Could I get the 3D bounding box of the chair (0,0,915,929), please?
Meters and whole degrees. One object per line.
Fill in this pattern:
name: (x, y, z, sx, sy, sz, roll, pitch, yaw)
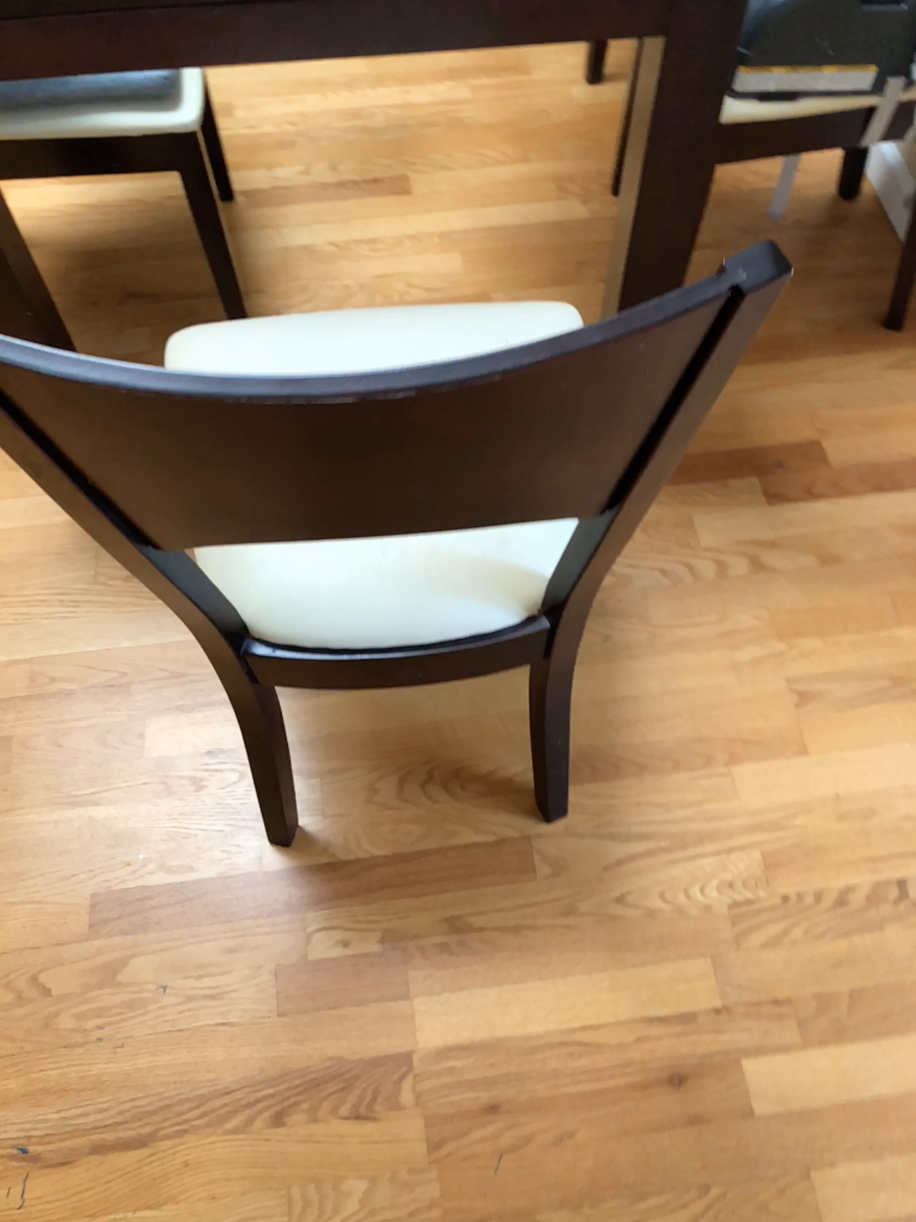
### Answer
chair: (-0.012, -0.106, 1.061, 0.560, 0.996, 0.592, -3, 59, -2)
